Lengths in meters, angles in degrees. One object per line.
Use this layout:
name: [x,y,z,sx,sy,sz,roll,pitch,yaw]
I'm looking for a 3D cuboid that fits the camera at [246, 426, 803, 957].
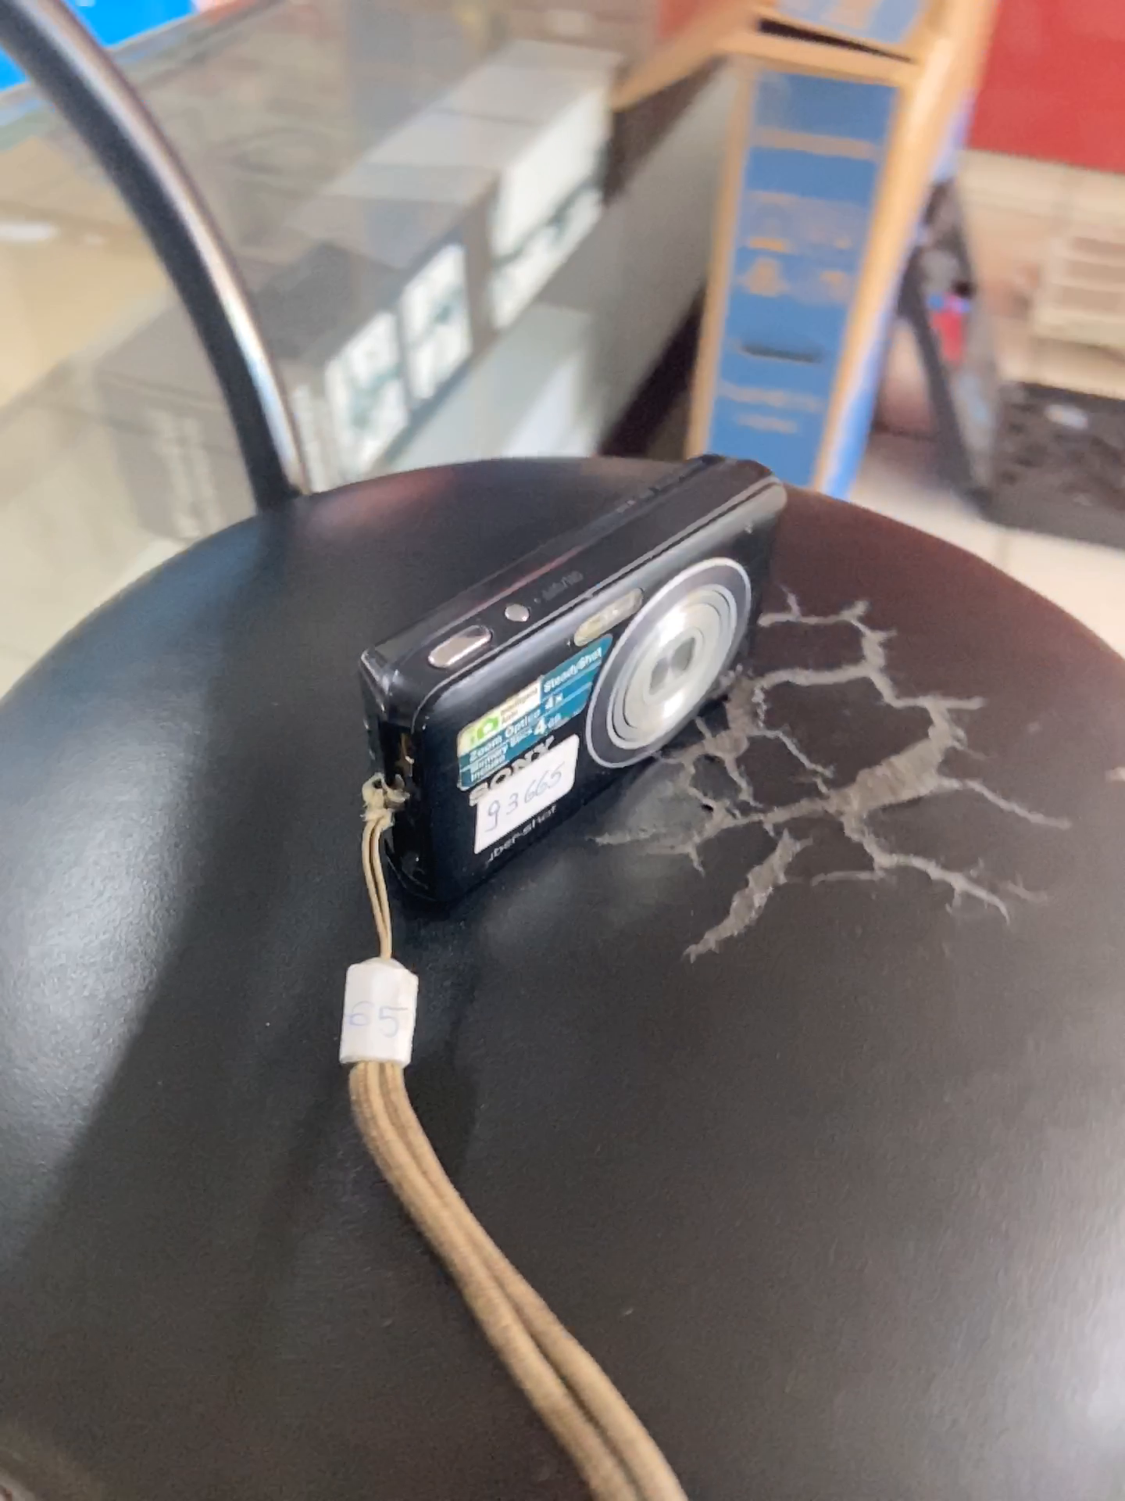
camera: [-0.002,-0.014,0.217,0.110,0.050,0.020,-34,56,-30]
